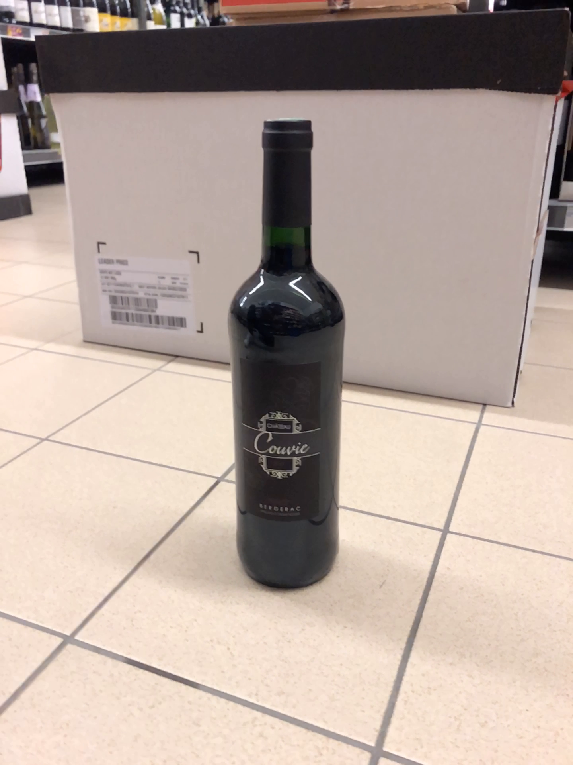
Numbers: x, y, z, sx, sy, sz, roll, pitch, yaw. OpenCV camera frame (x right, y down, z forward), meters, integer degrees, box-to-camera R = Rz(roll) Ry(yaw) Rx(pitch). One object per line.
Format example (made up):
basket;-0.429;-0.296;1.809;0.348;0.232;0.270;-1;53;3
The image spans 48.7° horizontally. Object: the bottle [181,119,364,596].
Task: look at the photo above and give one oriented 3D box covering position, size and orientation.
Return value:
bottle;-0.002;-0.012;0.407;0.090;0.288;0.091;0;22;0
